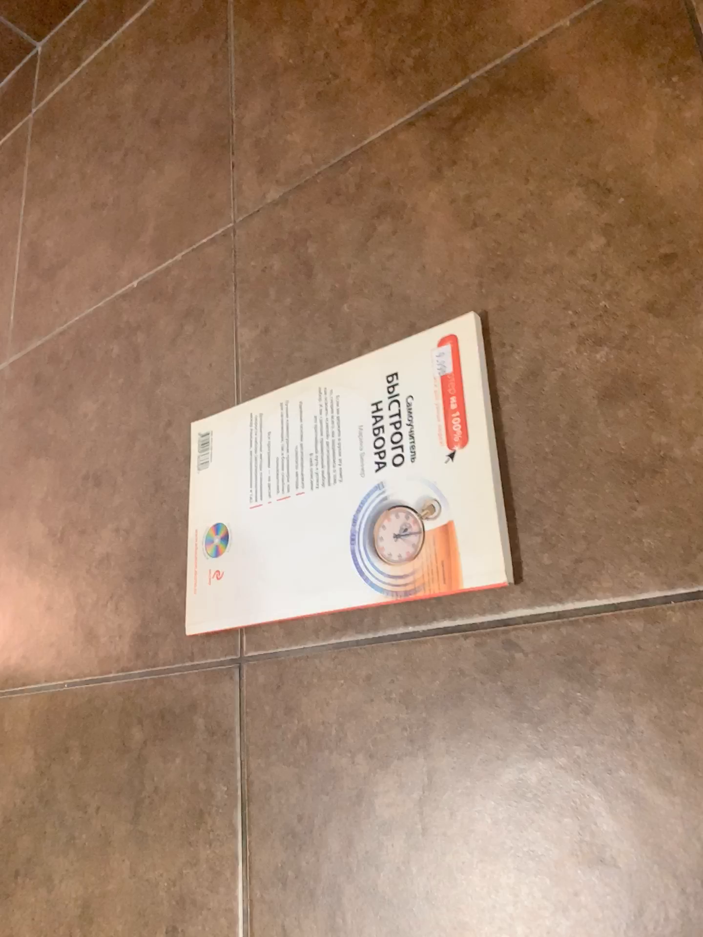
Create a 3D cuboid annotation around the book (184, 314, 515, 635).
[{"bbox_3d":[-0.017,0.012,0.397,0.211,0.009,0.134,-16,67,34],"label":"book"}]
